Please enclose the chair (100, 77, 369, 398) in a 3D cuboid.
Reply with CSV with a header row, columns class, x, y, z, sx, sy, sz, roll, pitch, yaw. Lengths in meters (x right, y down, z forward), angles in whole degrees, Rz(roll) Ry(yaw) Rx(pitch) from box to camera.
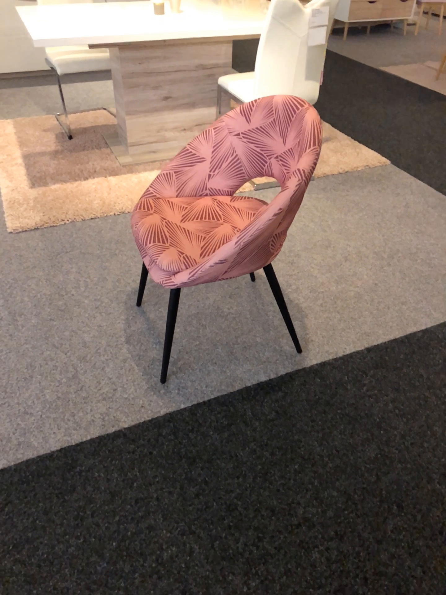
class,x,y,z,sx,sy,sz,roll,pitch,yaw
chair,-0.009,-0.207,1.587,0.601,0.795,0.532,-11,40,-15
